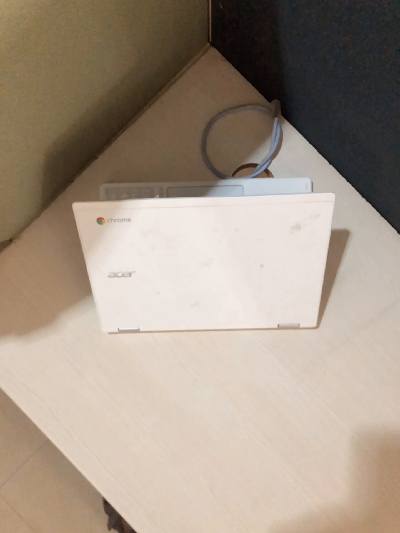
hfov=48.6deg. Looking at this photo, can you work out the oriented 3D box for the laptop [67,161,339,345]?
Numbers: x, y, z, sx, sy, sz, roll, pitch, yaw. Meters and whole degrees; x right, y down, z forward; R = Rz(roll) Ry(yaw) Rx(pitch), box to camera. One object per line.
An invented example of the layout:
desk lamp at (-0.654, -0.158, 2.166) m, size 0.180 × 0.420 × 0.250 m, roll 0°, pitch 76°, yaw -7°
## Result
laptop at (0.004, -0.011, 0.529) m, size 0.285 × 0.115 × 0.187 m, roll -2°, pitch 91°, yaw 2°
